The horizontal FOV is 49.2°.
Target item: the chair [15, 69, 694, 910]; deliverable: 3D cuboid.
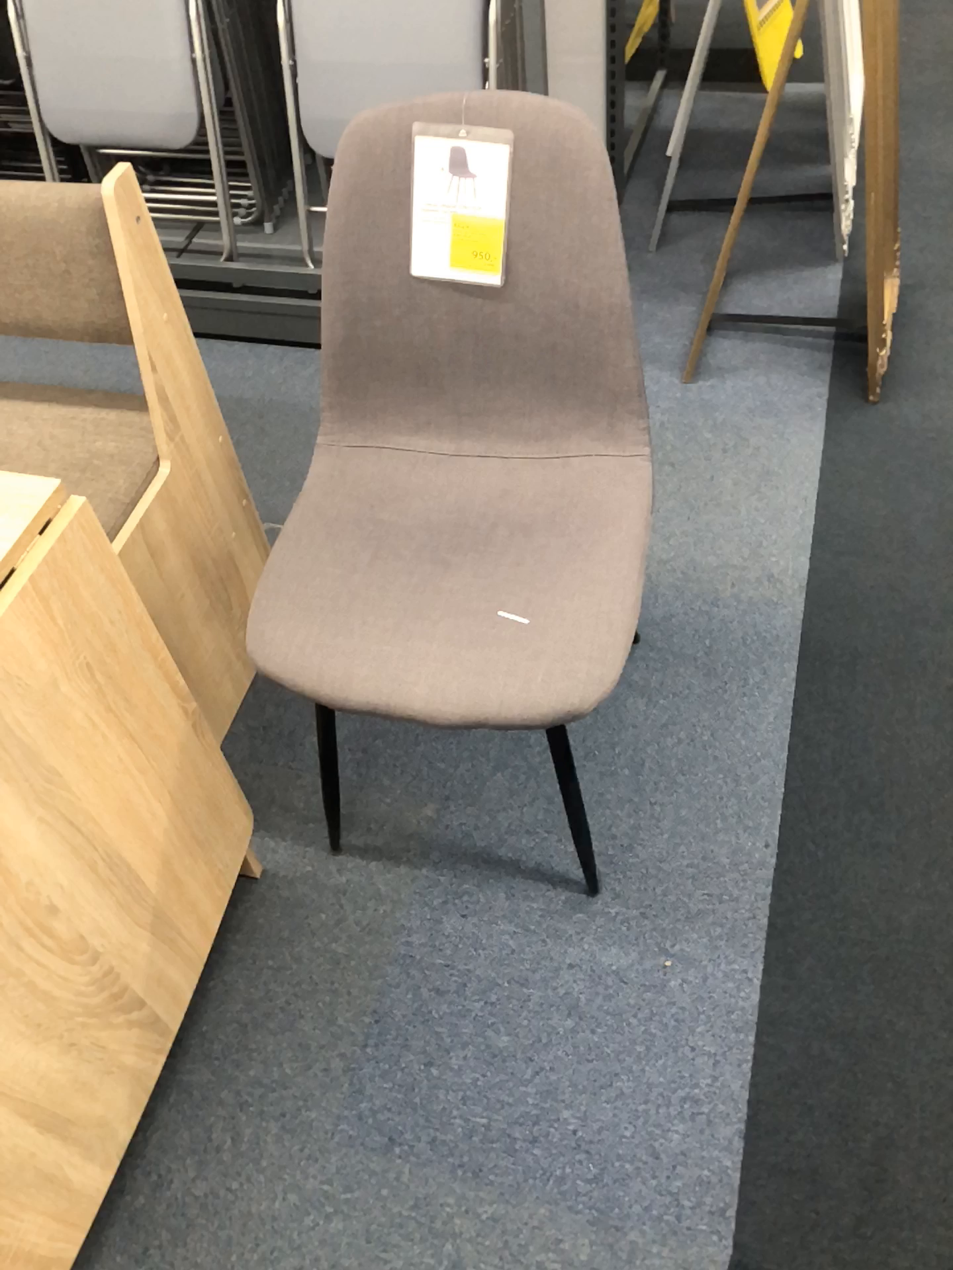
[{"bbox_3d":[-0.033,-0.134,1.248,0.480,0.807,0.542,6,52,13],"label":"chair"}]
